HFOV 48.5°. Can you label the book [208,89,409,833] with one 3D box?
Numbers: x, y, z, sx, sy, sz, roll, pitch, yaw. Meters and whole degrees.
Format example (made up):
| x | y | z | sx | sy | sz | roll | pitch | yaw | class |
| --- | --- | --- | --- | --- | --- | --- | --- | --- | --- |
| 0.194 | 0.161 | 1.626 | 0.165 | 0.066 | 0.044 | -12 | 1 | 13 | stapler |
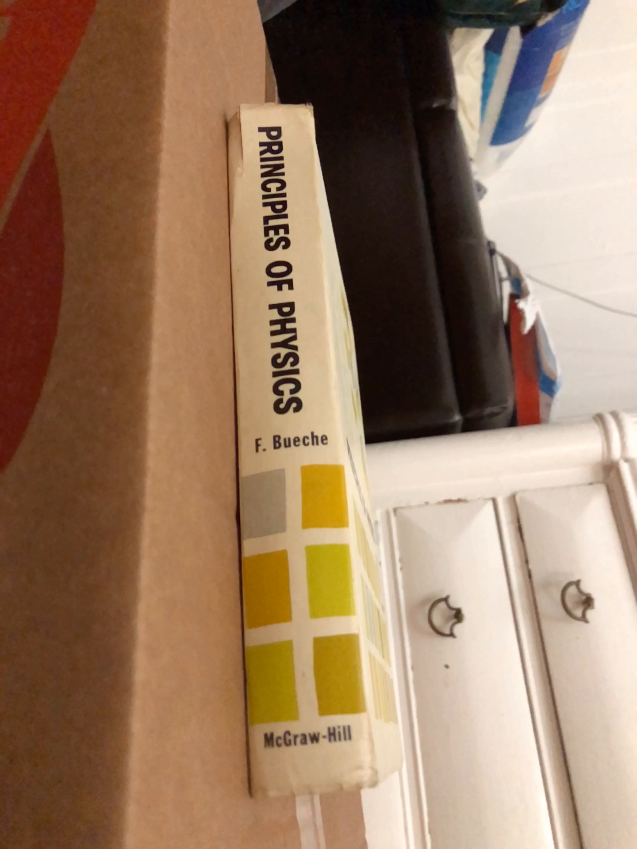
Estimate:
| x | y | z | sx | sy | sz | roll | pitch | yaw | class |
| --- | --- | --- | --- | --- | --- | --- | --- | --- | --- |
| -0.001 | 0.021 | 0.306 | 0.180 | 0.040 | 0.250 | 69 | 15 | -64 | book |
